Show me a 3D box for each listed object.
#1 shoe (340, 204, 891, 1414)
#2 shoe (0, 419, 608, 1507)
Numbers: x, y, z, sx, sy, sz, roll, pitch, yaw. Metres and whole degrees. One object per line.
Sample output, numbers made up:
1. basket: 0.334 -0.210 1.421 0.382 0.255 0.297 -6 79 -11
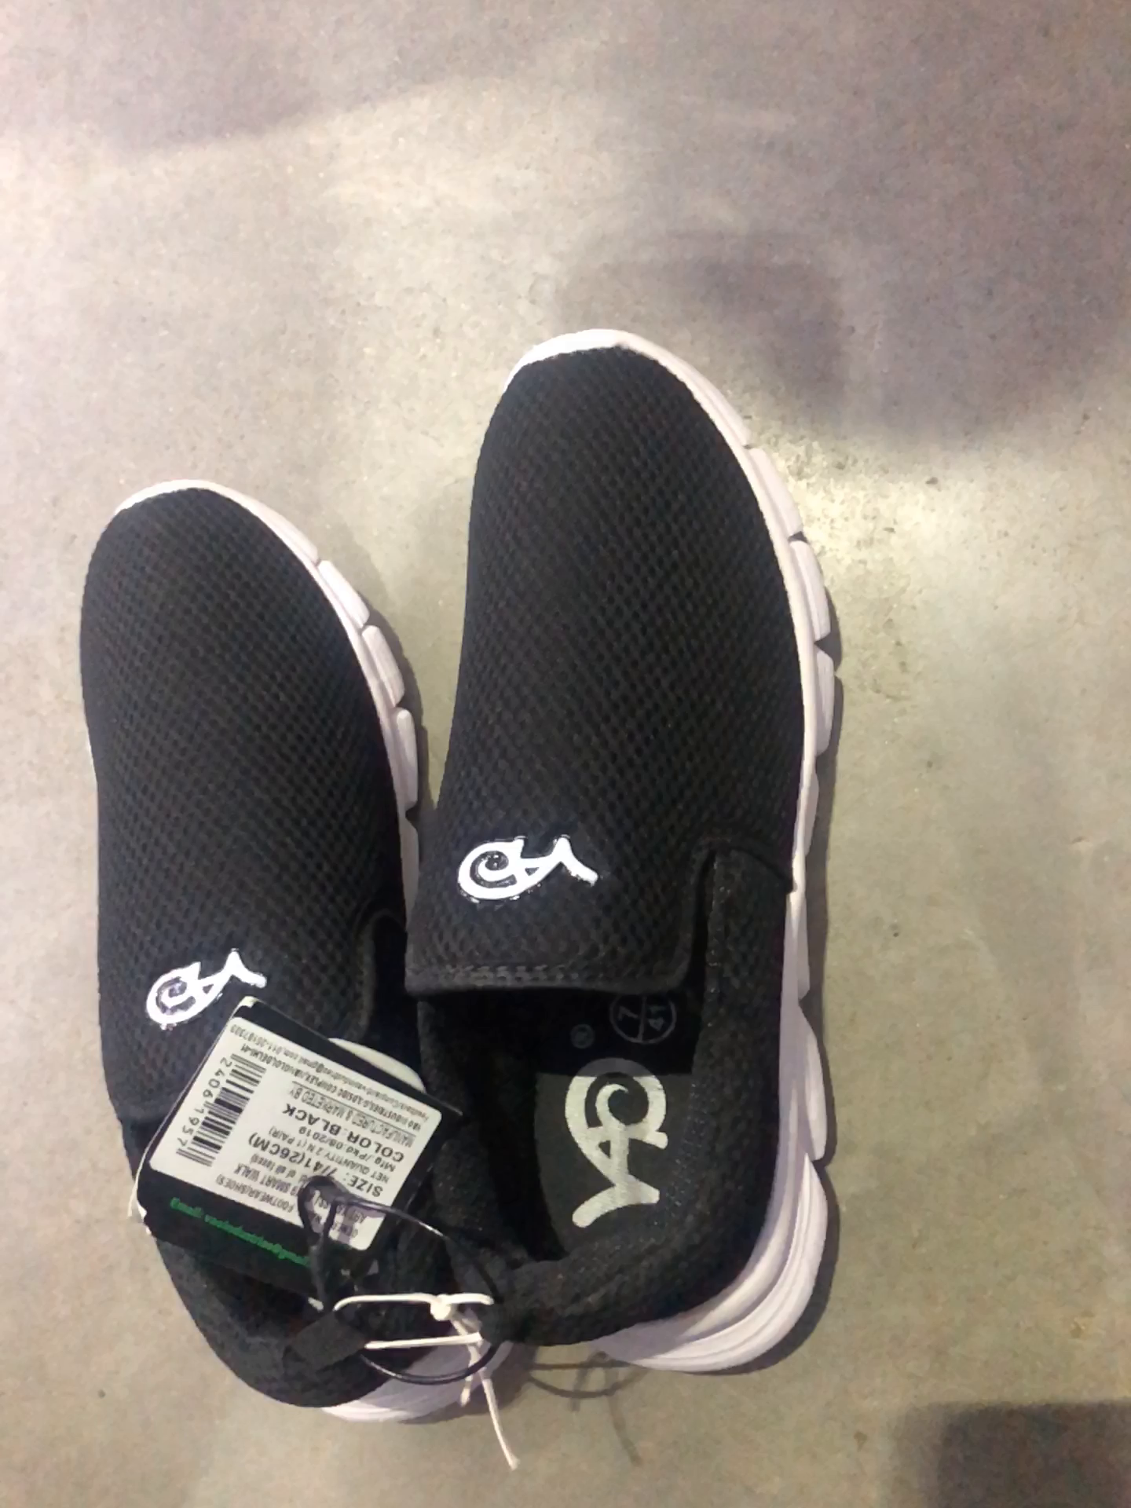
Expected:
1. shoe: 0.014 0.014 0.346 0.110 0.100 0.270 -6 81 24
2. shoe: -0.090 0.056 0.370 0.110 0.100 0.260 -20 78 12
